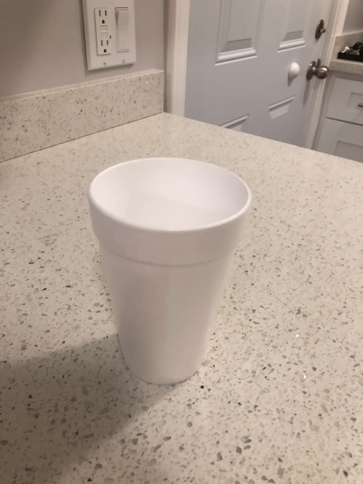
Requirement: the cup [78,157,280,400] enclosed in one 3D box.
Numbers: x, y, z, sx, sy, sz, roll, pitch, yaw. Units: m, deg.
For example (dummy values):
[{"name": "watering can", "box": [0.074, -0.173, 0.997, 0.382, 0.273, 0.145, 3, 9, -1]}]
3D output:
[{"name": "cup", "box": [-0.005, 0.021, 0.248, 0.090, 0.118, 0.088, 2, 33, -1]}]
